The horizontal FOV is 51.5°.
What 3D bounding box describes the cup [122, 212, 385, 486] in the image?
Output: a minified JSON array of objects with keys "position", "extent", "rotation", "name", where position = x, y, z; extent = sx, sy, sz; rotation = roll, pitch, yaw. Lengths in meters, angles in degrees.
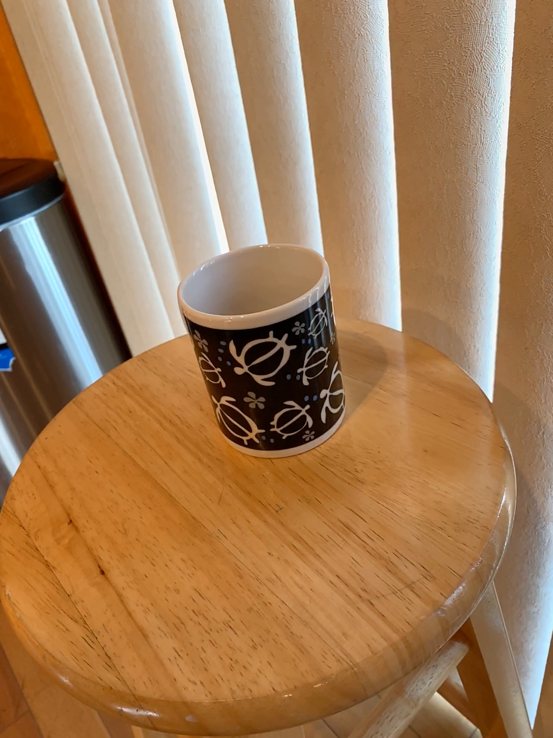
[{"position":[-0.013,-0.020,0.346],"extent":[0.090,0.099,0.121],"rotation":[-30,39,-24],"name":"cup"}]
